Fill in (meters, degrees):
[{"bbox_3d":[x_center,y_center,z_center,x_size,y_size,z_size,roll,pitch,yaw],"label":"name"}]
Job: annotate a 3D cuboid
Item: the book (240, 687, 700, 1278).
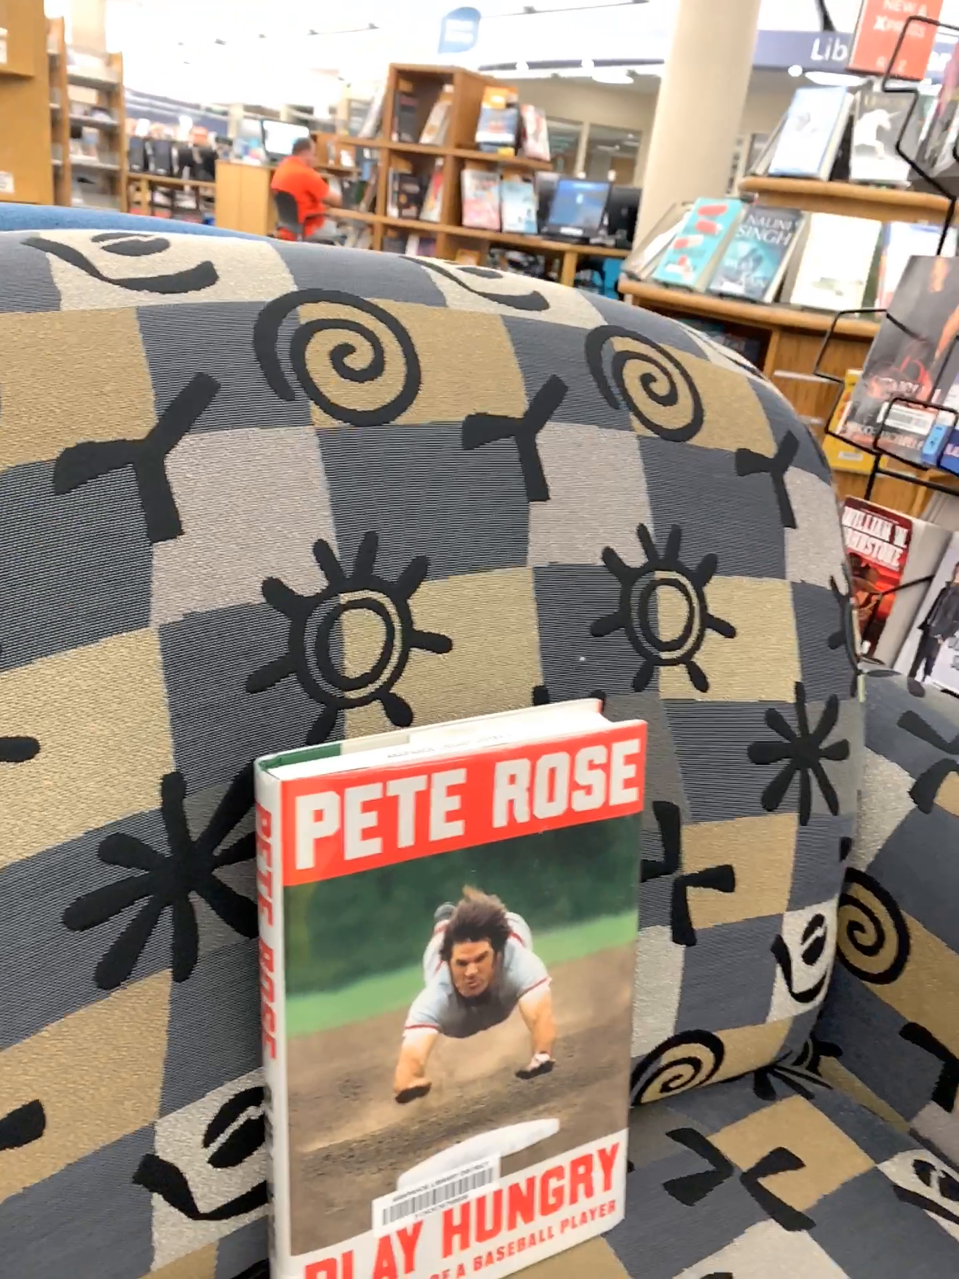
[{"bbox_3d":[0.000,0.155,0.418,0.190,0.249,0.040,-4,12,-30],"label":"book"}]
